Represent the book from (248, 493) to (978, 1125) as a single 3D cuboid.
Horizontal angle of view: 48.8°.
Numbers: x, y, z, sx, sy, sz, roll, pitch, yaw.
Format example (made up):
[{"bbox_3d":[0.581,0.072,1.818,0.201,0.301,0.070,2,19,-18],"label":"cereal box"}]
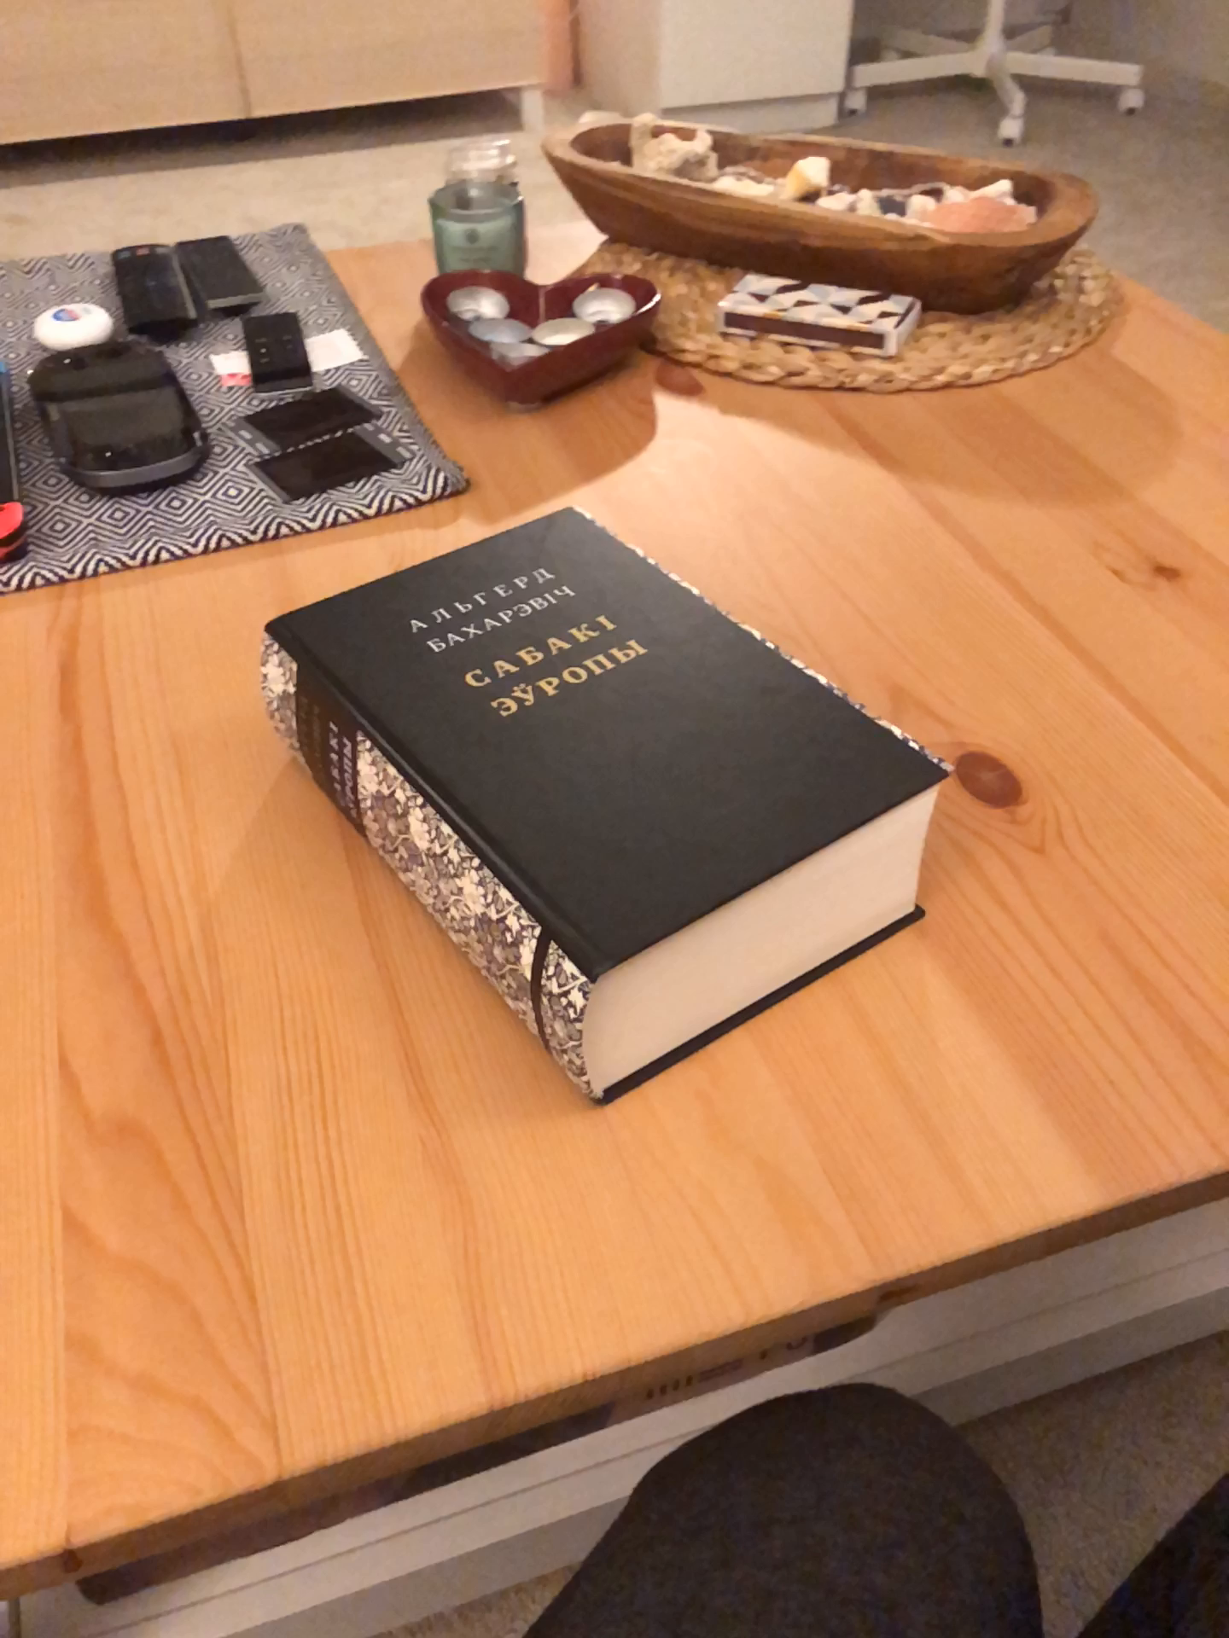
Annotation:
[{"bbox_3d":[-0.009,-0.022,0.506,0.158,0.061,0.230,-27,49,-24],"label":"book"}]
